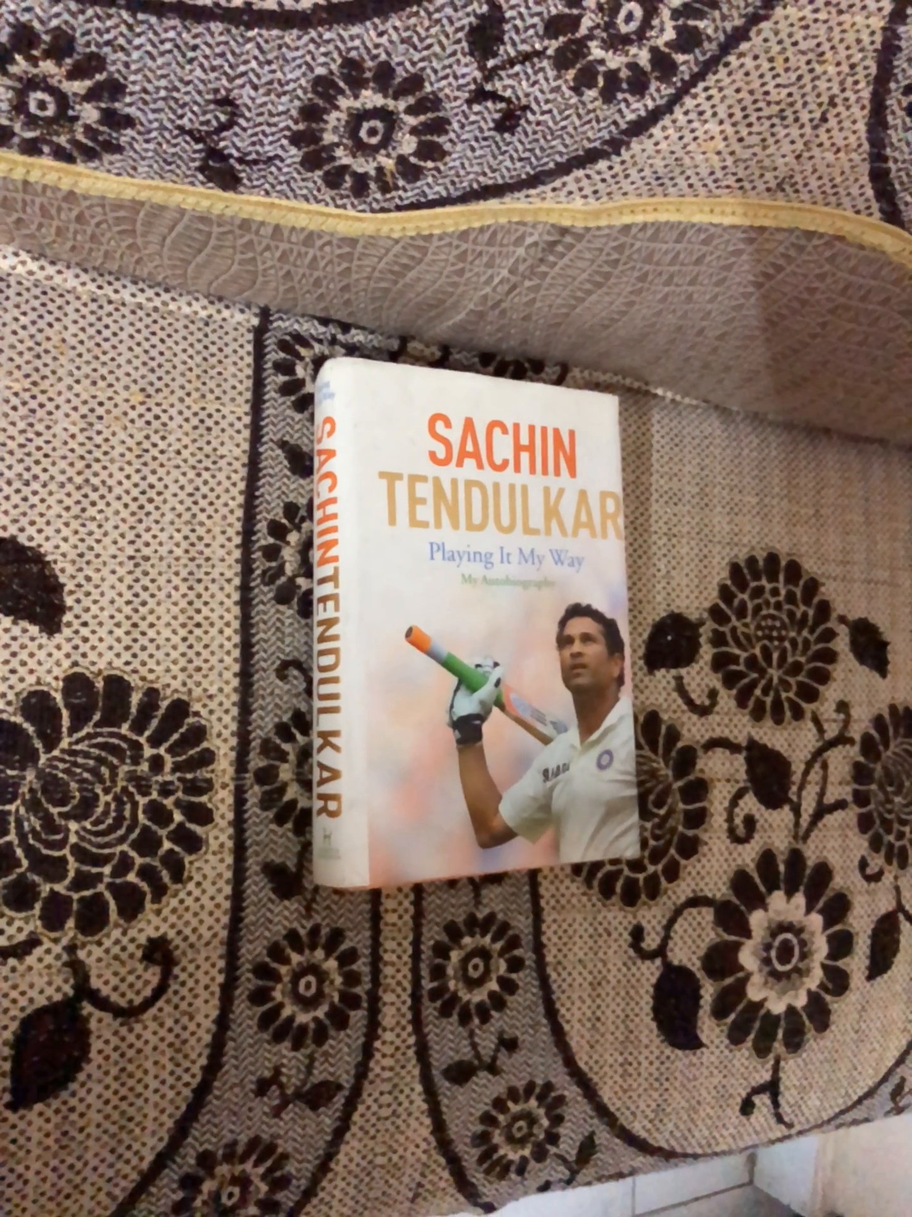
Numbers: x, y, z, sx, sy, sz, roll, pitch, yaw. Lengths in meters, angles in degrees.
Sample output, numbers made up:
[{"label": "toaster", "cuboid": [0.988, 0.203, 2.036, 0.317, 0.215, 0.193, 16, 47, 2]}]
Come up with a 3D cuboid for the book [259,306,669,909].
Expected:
[{"label": "book", "cuboid": [0.003, 0.002, 0.504, 0.181, 0.070, 0.260, 2, 81, -29]}]
